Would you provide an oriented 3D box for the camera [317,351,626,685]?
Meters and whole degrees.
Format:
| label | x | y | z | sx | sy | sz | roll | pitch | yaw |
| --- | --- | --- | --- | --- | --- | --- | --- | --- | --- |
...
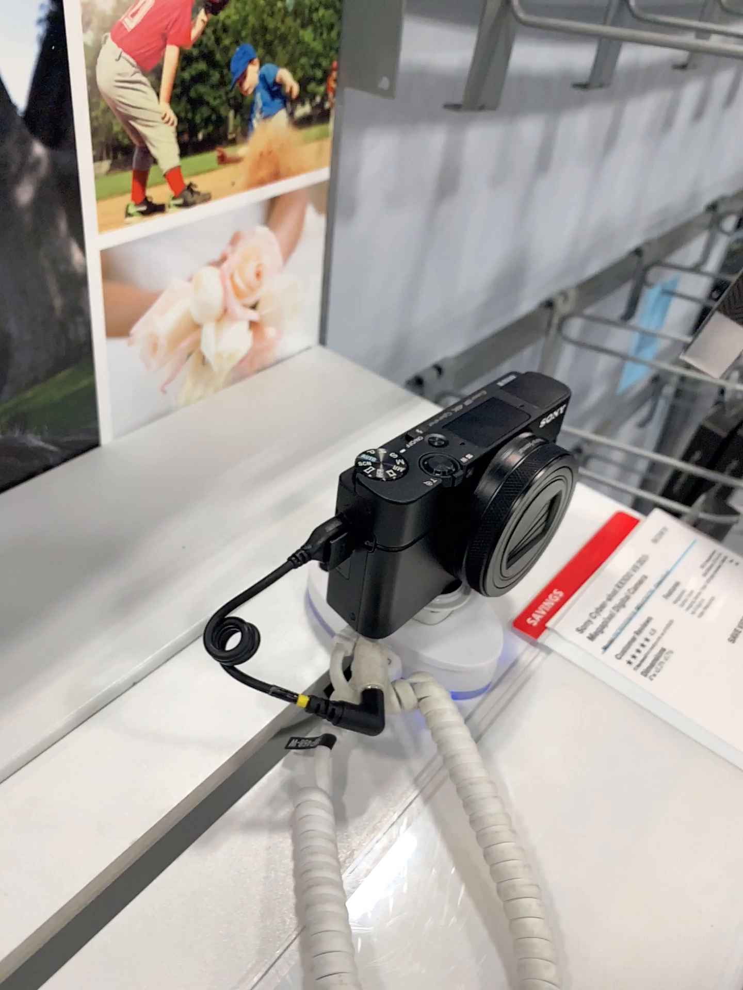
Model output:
| label | x | y | z | sx | sy | sz | roll | pitch | yaw |
| --- | --- | --- | --- | --- | --- | --- | --- | --- | --- |
| camera | 0.035 | 0.002 | 0.261 | 0.043 | 0.060 | 0.105 | 30 | 43 | 28 |
